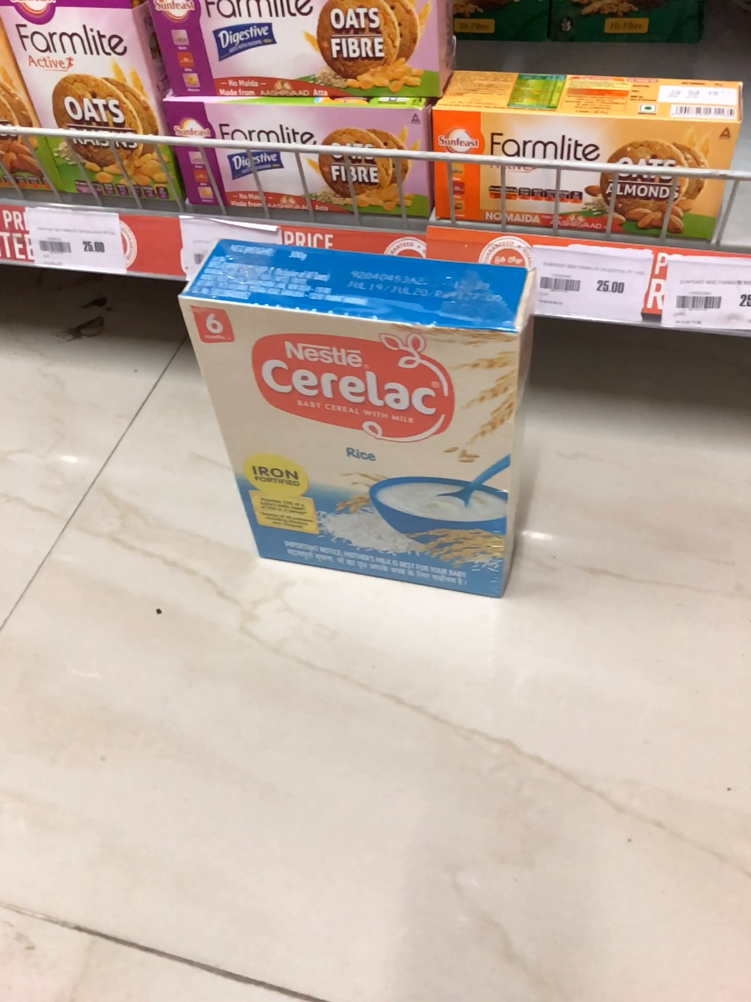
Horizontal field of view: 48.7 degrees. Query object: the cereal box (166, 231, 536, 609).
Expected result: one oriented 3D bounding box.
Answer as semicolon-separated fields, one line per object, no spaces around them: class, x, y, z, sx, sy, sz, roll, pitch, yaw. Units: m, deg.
cereal box;-0.003;-0.034;0.430;0.150;0.189;0.060;8;51;13
